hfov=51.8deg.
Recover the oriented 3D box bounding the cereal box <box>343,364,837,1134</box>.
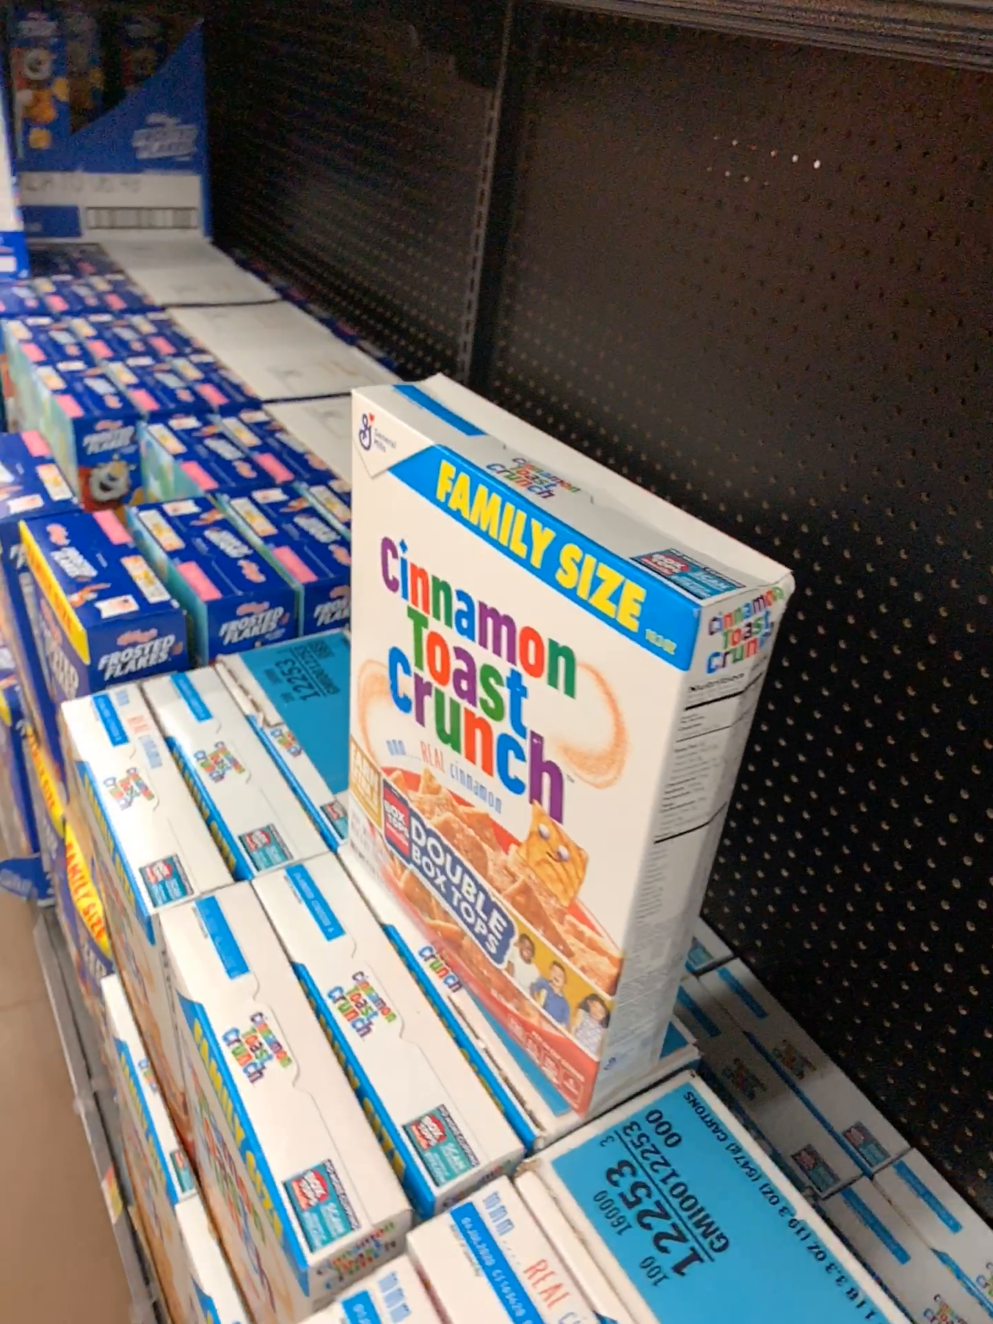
[{"bbox_3d":[0.013,0.039,0.511,0.060,0.298,0.241,-18,41,-33],"label":"cereal box"}]
